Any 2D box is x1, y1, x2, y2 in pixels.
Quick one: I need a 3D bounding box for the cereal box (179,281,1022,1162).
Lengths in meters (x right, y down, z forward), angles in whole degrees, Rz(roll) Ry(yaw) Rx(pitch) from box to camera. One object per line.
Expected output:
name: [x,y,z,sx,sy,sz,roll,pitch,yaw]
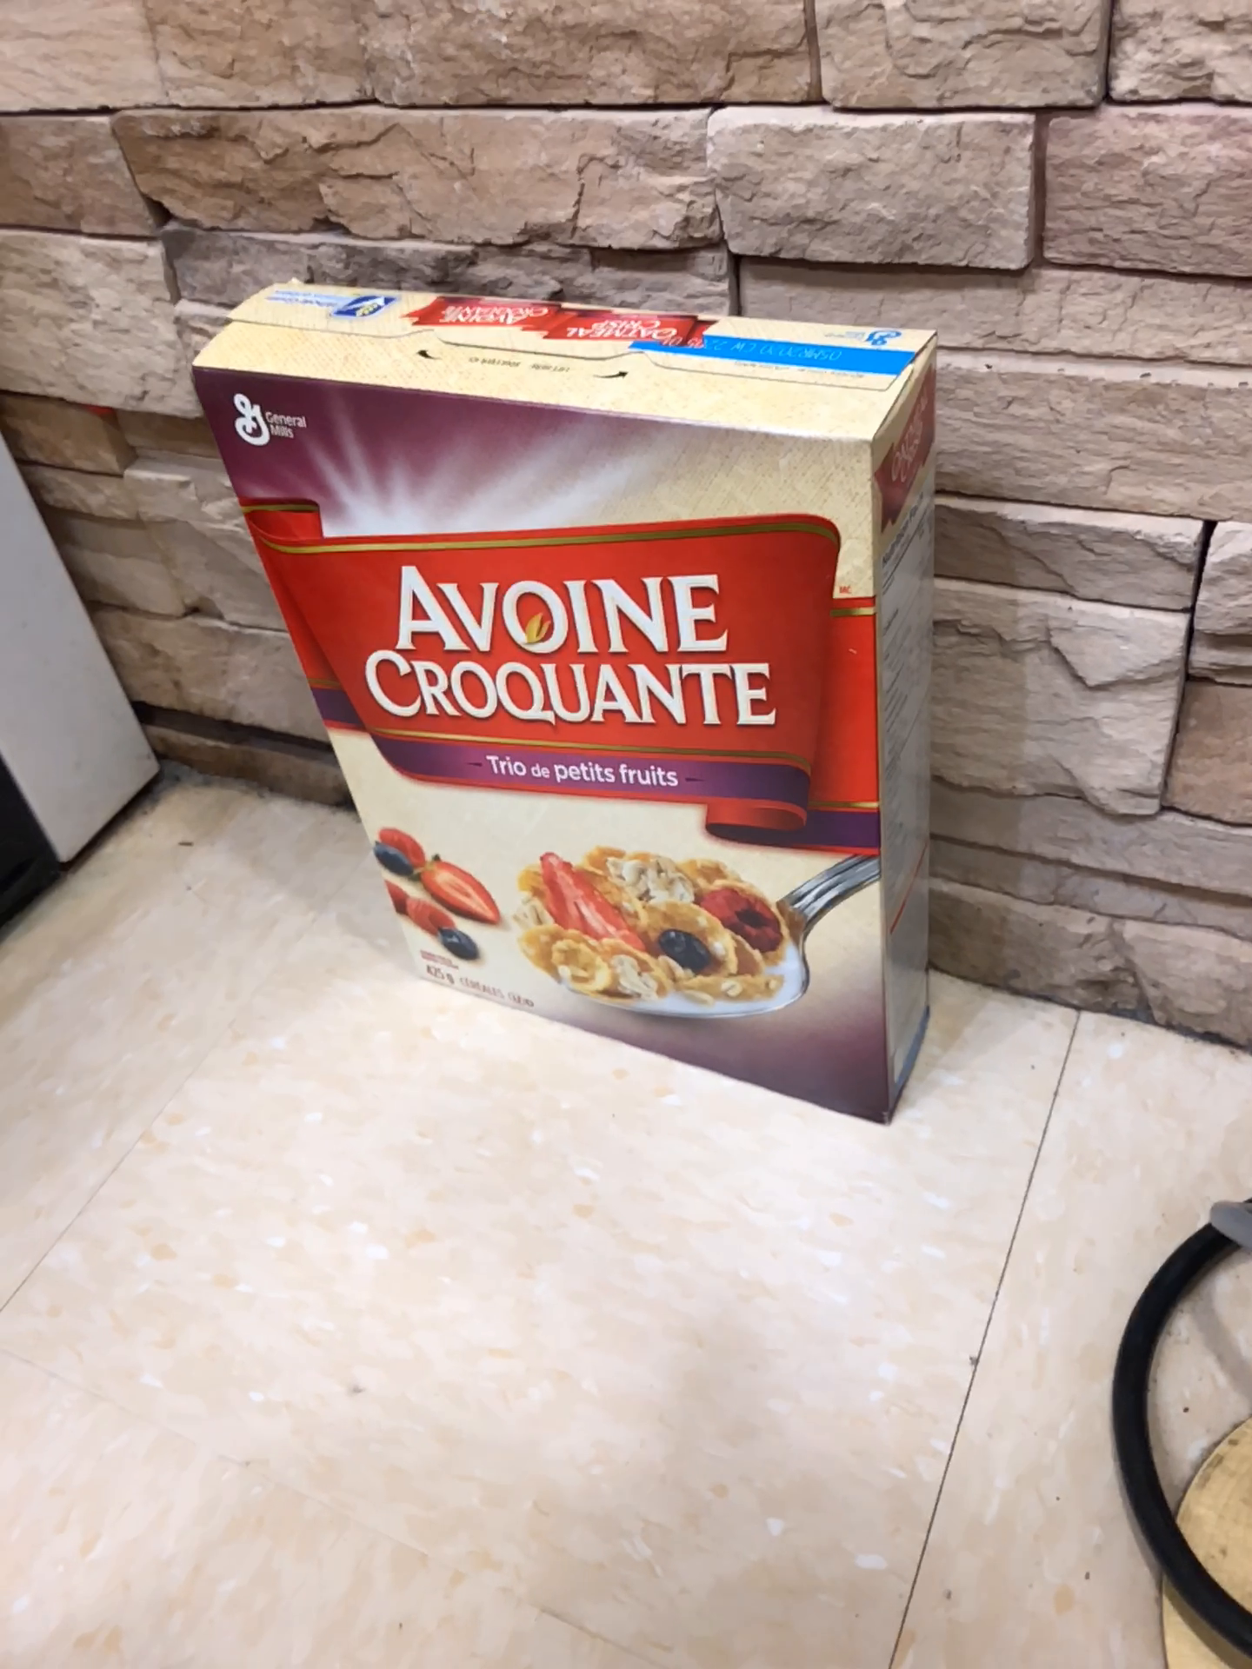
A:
cereal box: [0.004,-0.026,0.417,0.201,0.248,0.060,14,48,24]
